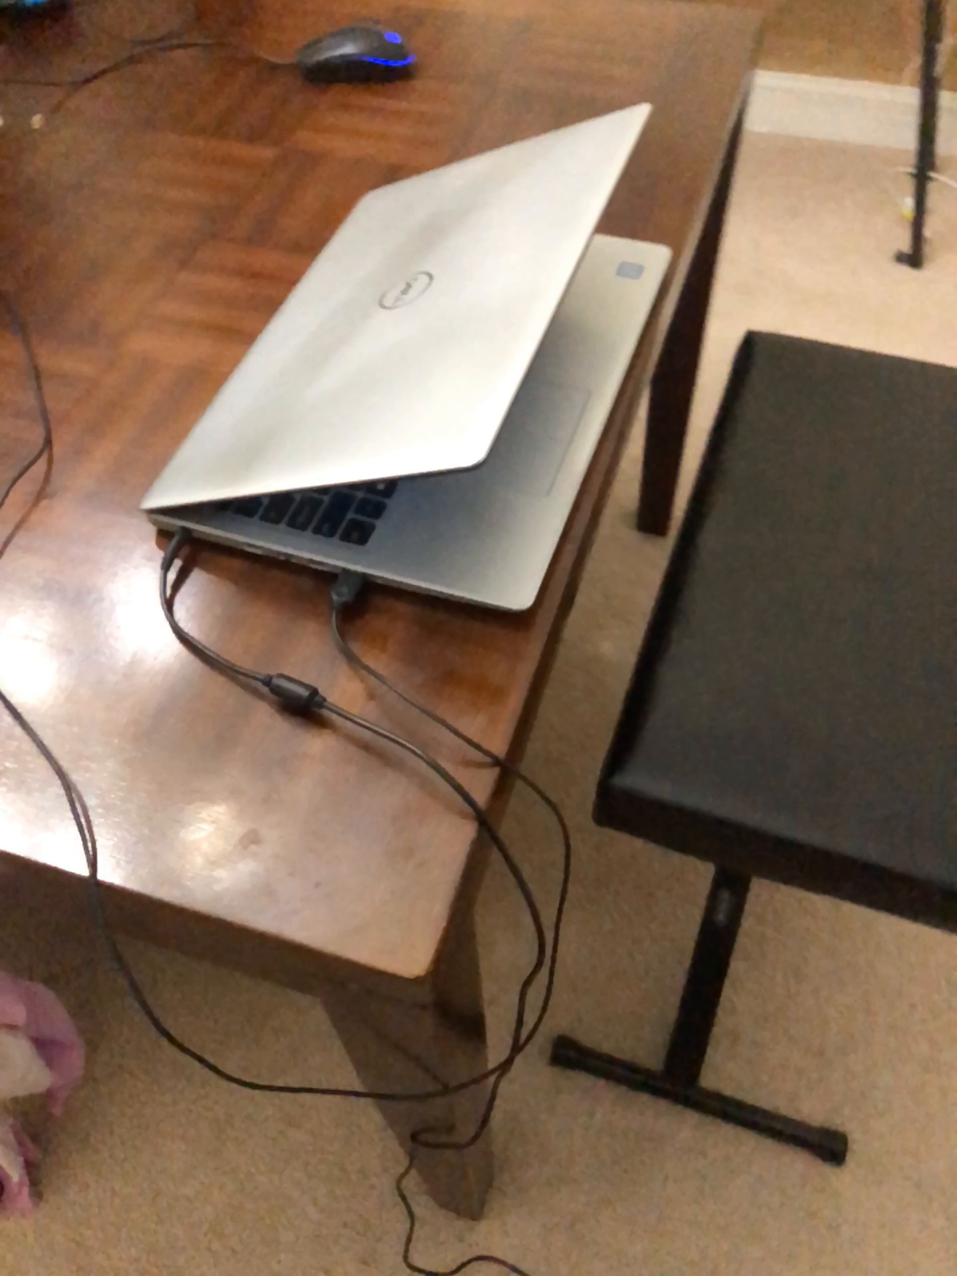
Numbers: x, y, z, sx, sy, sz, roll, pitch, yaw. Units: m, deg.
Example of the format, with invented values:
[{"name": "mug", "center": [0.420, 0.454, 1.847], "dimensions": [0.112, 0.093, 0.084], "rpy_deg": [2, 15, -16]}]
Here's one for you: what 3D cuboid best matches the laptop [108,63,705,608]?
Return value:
[{"name": "laptop", "center": [-0.020, -0.220, 0.694], "dimensions": [0.249, 0.103, 0.370], "rpy_deg": [15, 55, 11]}]
